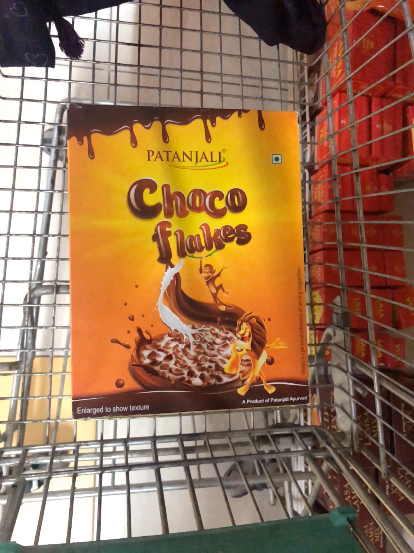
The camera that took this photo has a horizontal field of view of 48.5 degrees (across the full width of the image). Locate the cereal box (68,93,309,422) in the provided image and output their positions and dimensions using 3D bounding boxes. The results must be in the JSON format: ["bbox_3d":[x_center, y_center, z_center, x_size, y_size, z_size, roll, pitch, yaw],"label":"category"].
[{"bbox_3d":[-0.020,-0.014,0.387,0.170,0.110,0.230,-1,87,-9],"label":"cereal box"}]
